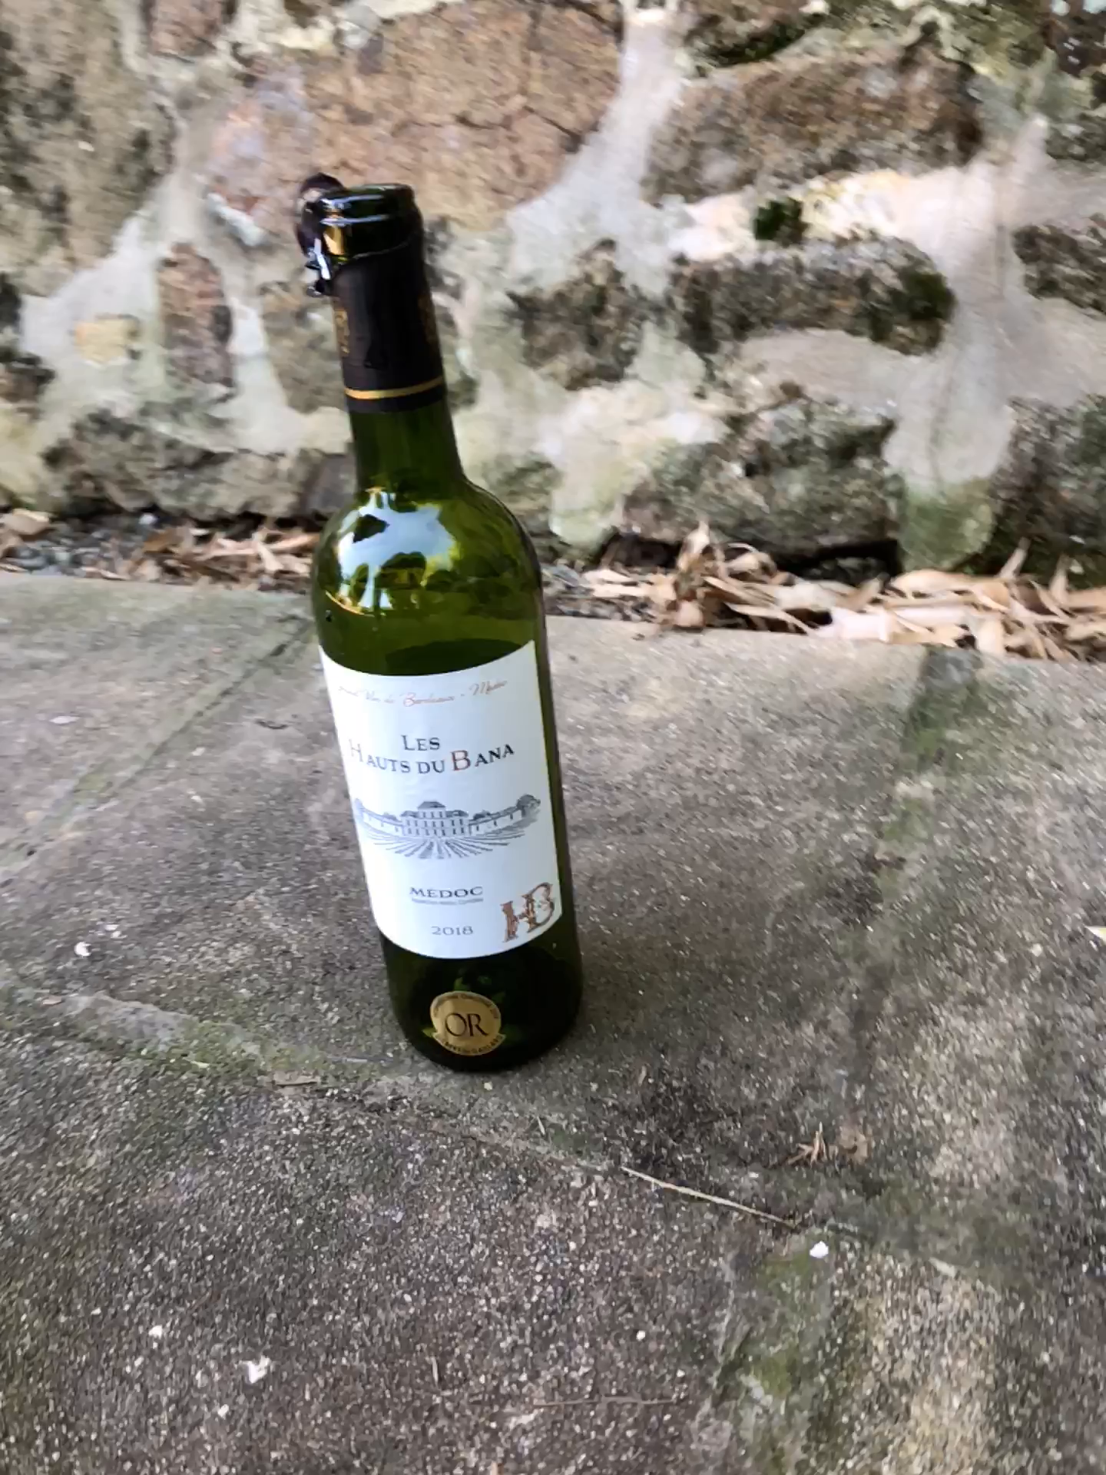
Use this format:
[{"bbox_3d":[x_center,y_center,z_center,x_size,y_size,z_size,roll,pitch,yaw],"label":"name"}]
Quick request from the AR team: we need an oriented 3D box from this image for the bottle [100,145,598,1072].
[{"bbox_3d":[-0.046,-0.026,0.397,0.090,0.288,0.081,-1,30,10],"label":"bottle"}]
